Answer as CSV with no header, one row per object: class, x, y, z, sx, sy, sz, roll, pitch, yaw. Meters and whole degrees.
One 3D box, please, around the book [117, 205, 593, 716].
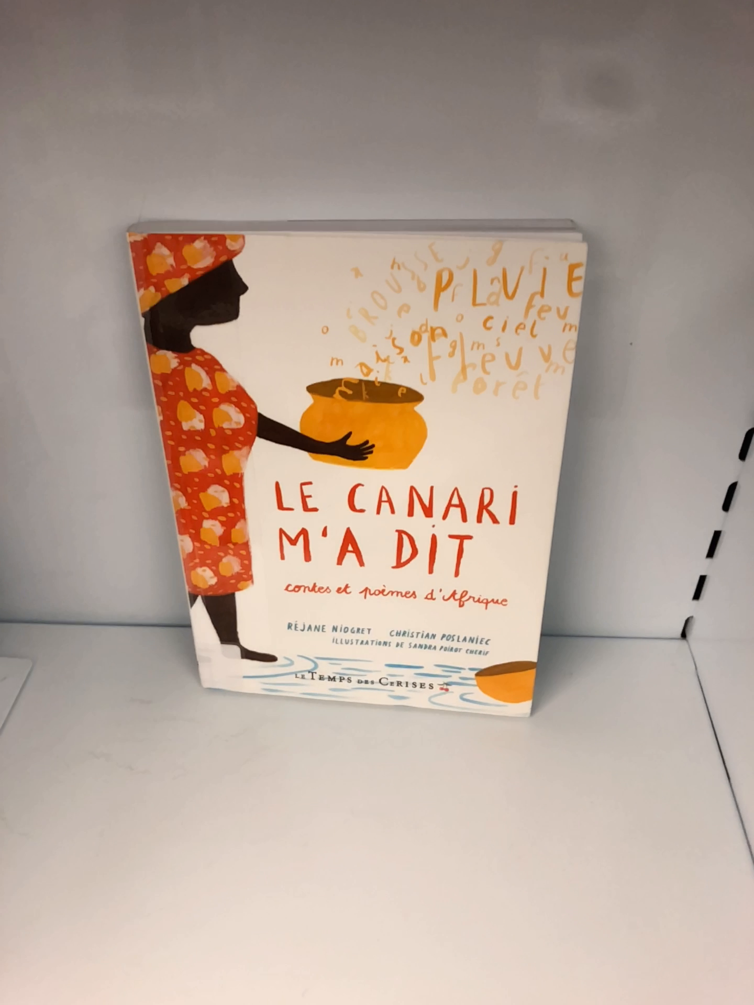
book,-0.007,-0.007,0.327,0.149,0.199,0.037,3,32,5
